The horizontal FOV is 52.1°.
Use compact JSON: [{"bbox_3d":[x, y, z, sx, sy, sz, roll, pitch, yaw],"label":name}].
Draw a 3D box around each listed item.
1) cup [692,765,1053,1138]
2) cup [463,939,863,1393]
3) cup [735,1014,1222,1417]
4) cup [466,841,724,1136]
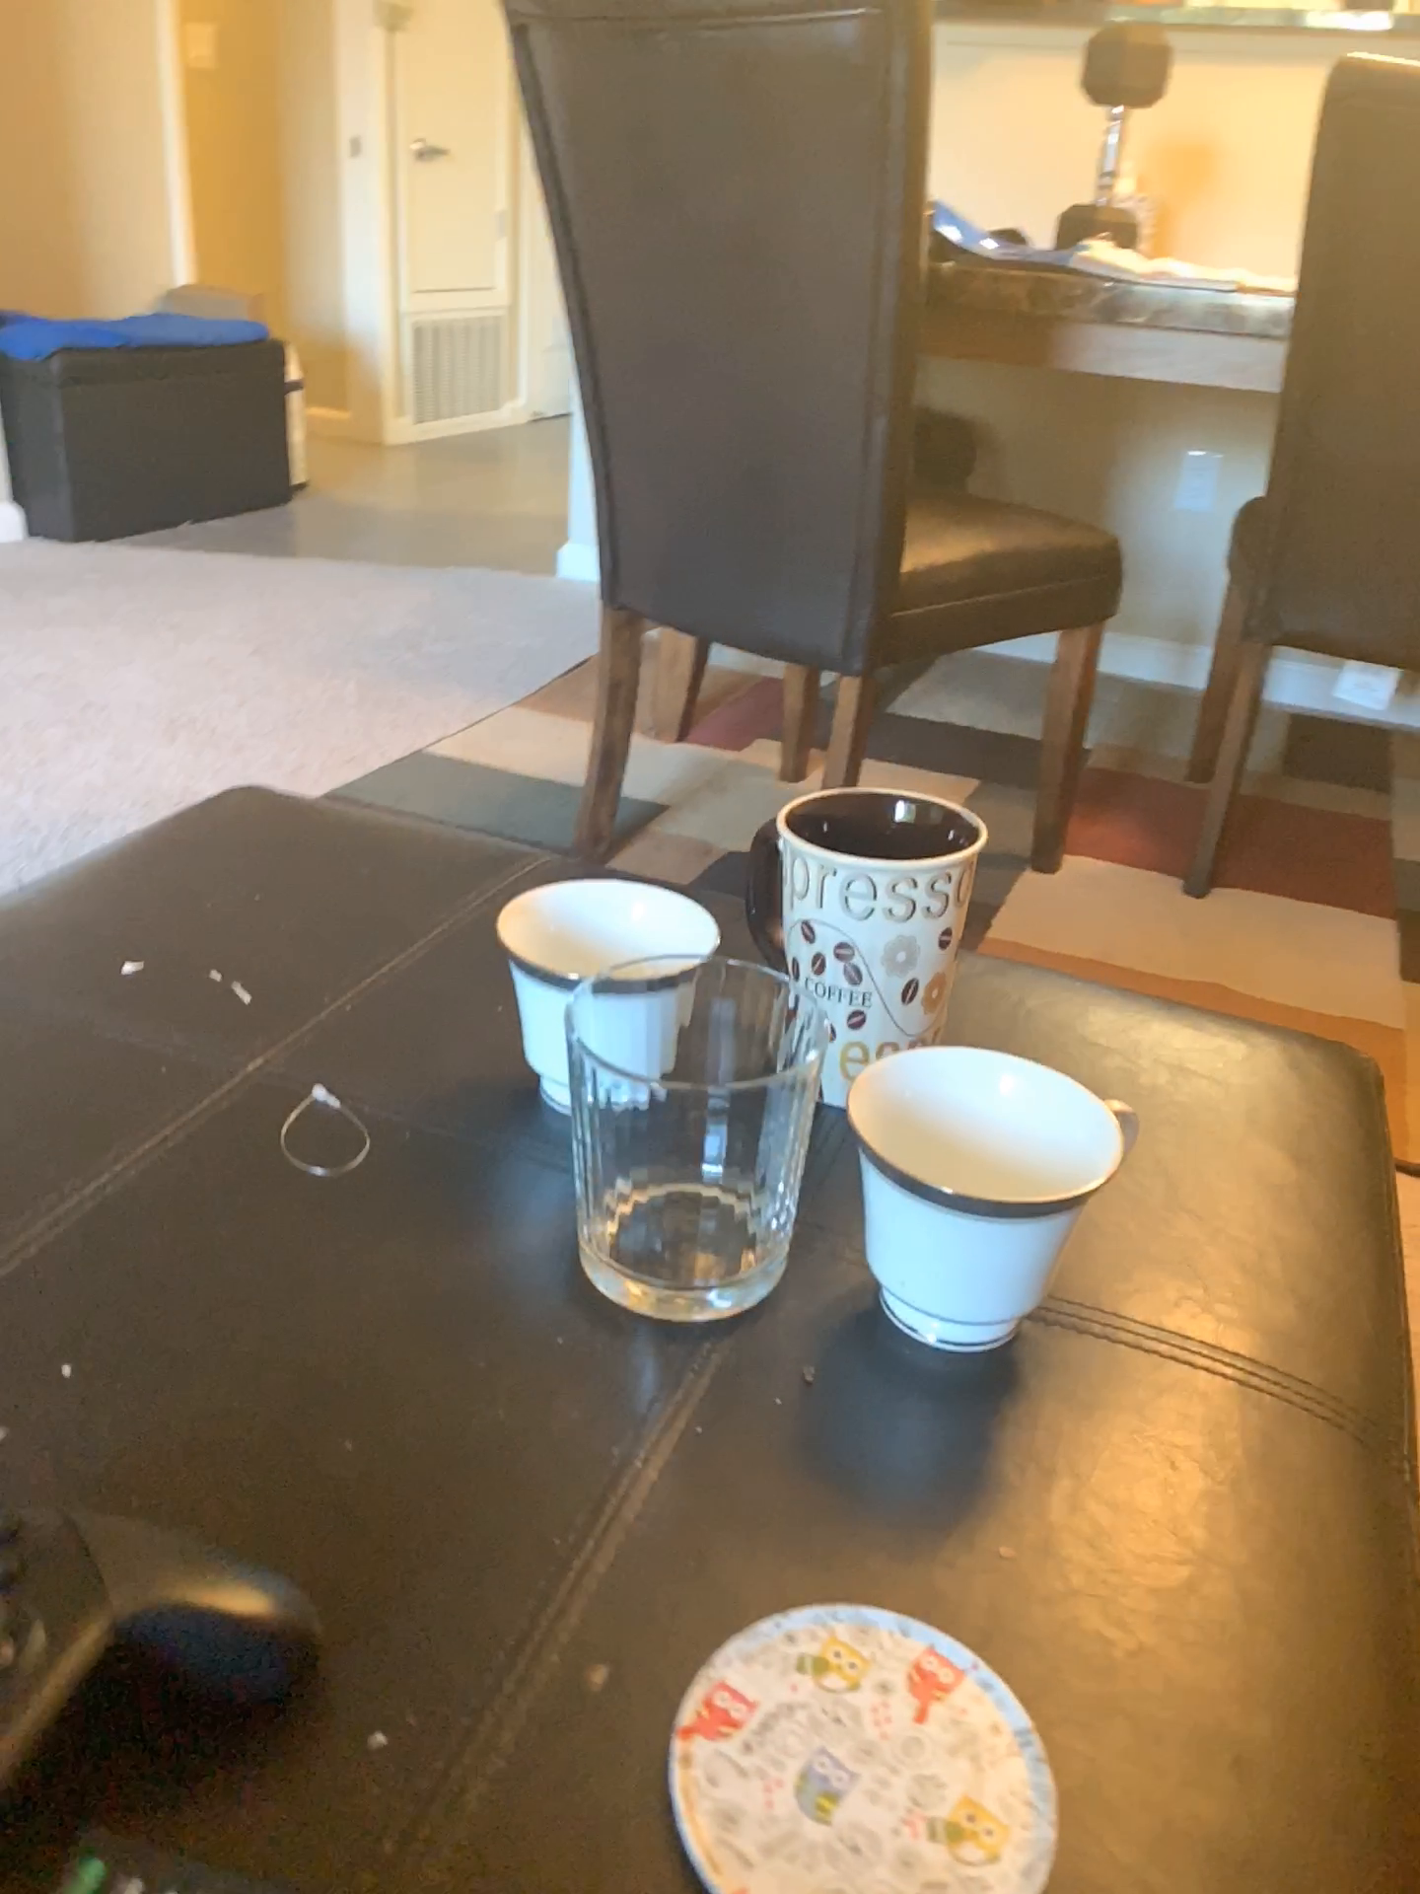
[{"bbox_3d":[0.064,-0.003,0.616,0.100,0.109,0.100,4,27,-2],"label":"cup"},{"bbox_3d":[-0.021,0.071,0.516,0.100,0.099,0.100,4,27,-2],"label":"cup"},{"bbox_3d":[0.088,0.084,0.495,0.120,0.060,0.100,-12,31,-30],"label":"cup"},{"bbox_3d":[-0.045,0.014,0.599,0.090,0.070,0.111,5,27,1],"label":"cup"}]
